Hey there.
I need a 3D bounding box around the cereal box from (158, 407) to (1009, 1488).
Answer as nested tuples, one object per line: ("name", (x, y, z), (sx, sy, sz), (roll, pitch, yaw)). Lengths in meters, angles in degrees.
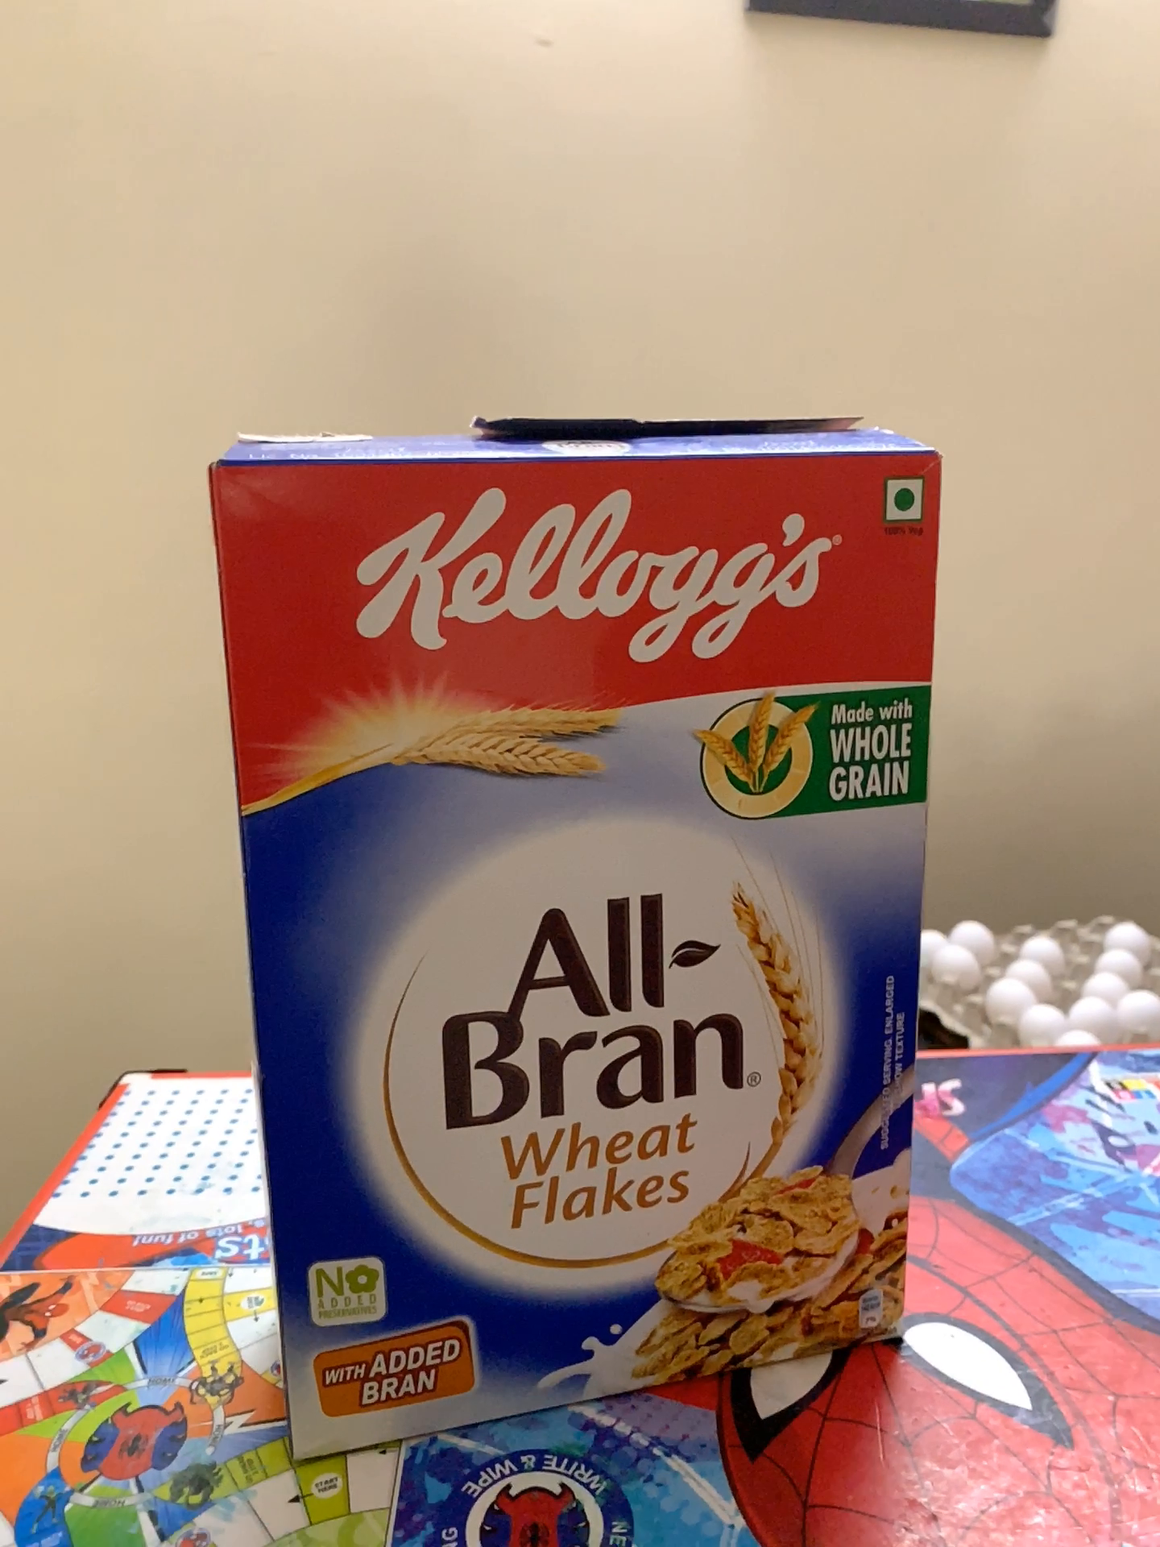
("cereal box", (0.004, 0.037, 0.315), (0.190, 0.249, 0.060), (-5, 13, -14))
